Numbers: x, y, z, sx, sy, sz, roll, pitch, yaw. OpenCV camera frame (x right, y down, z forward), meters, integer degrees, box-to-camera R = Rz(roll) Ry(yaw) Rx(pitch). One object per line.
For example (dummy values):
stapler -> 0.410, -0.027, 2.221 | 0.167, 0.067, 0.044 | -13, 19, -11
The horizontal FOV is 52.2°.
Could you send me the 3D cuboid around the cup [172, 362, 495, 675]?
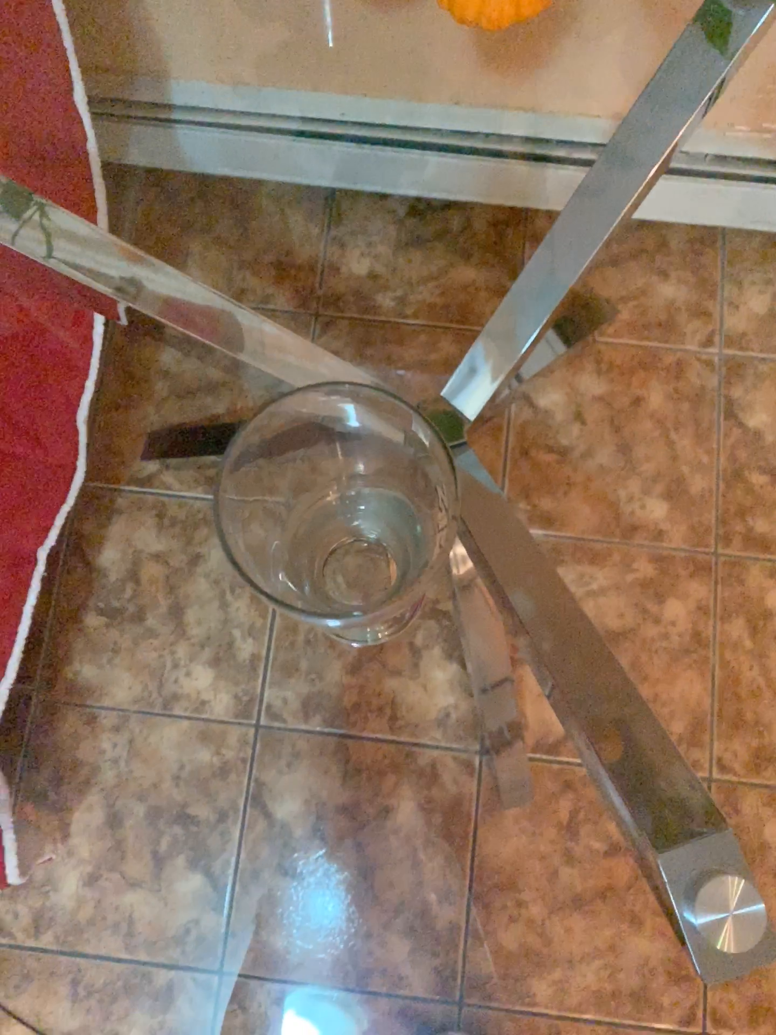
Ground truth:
cup -> -0.017, 0.019, 0.378 | 0.100, 0.212, 0.093 | 0, 77, 0
